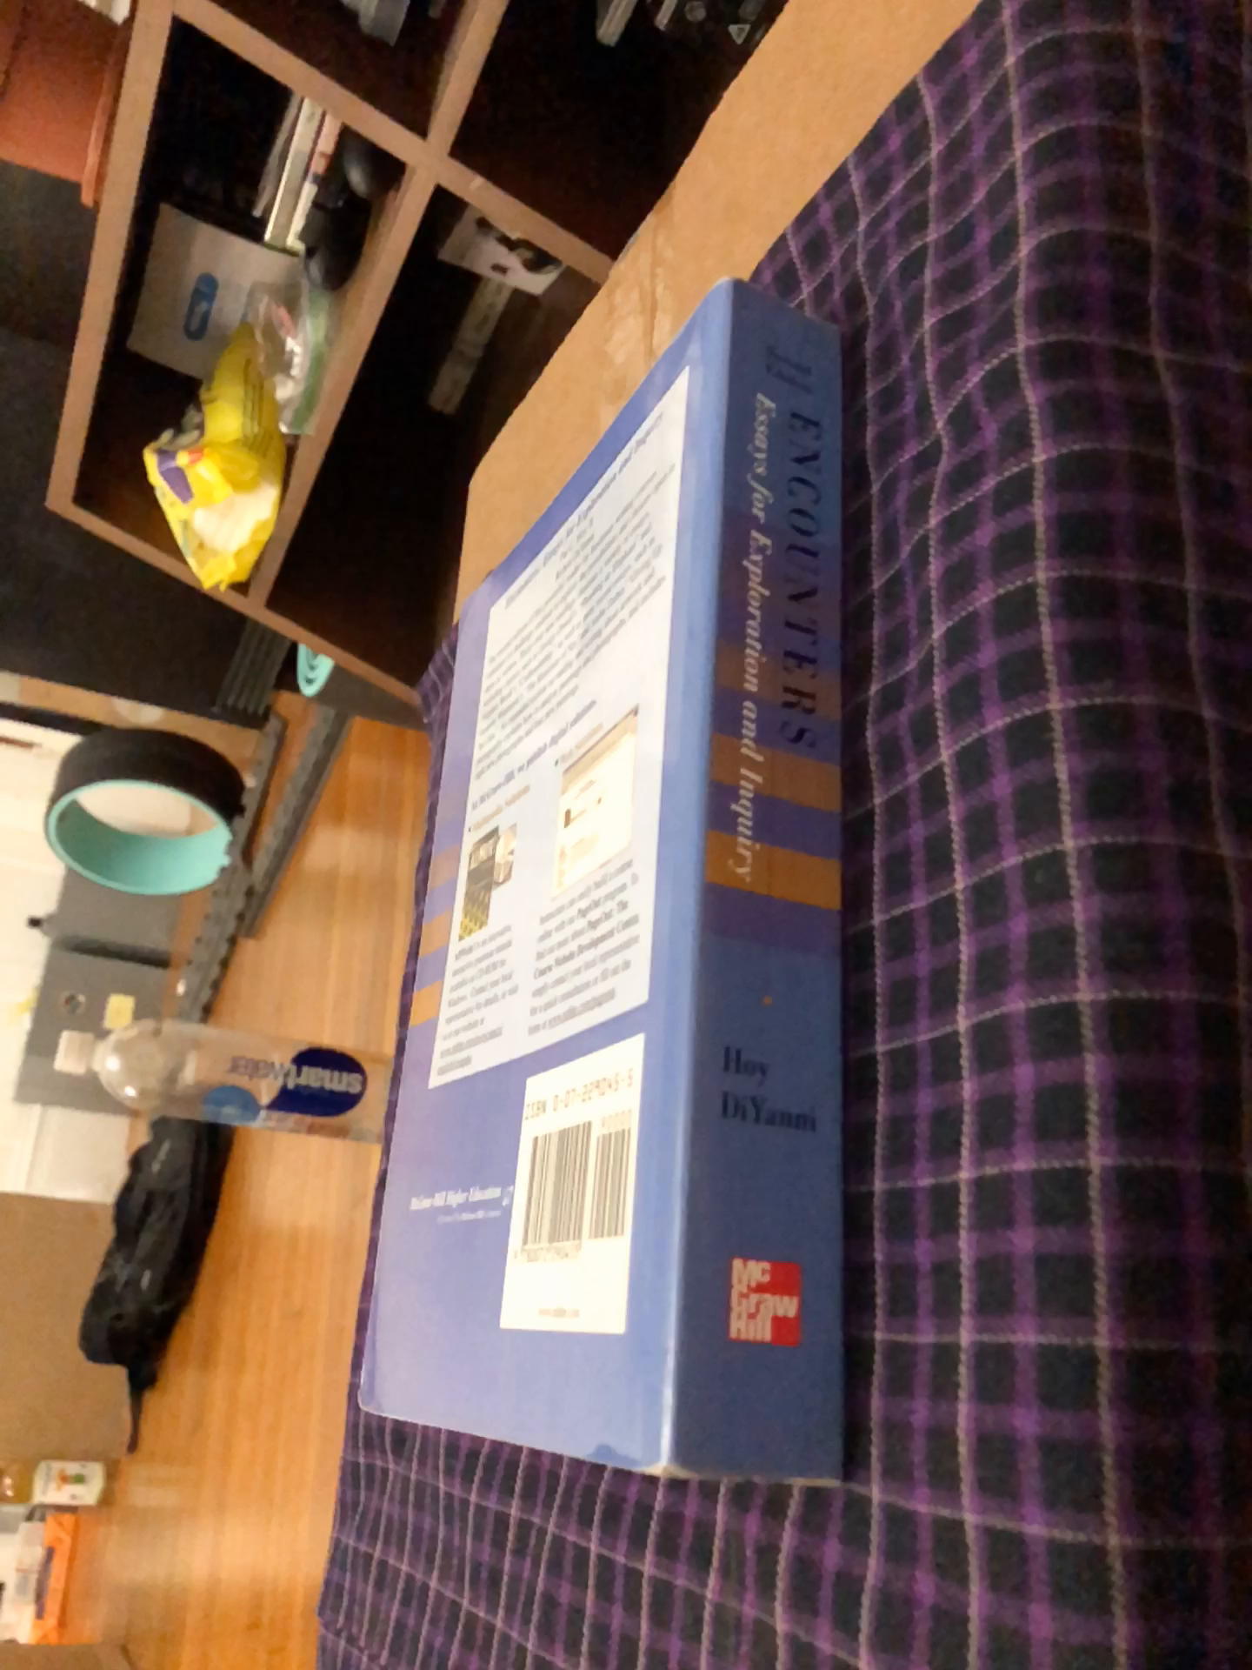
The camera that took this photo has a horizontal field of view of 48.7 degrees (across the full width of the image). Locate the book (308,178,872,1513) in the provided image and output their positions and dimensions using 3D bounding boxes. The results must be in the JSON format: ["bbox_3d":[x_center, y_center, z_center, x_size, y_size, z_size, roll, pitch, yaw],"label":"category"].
[{"bbox_3d":[-0.013,0.011,0.317,0.180,0.040,0.240,144,135,-58],"label":"book"}]
